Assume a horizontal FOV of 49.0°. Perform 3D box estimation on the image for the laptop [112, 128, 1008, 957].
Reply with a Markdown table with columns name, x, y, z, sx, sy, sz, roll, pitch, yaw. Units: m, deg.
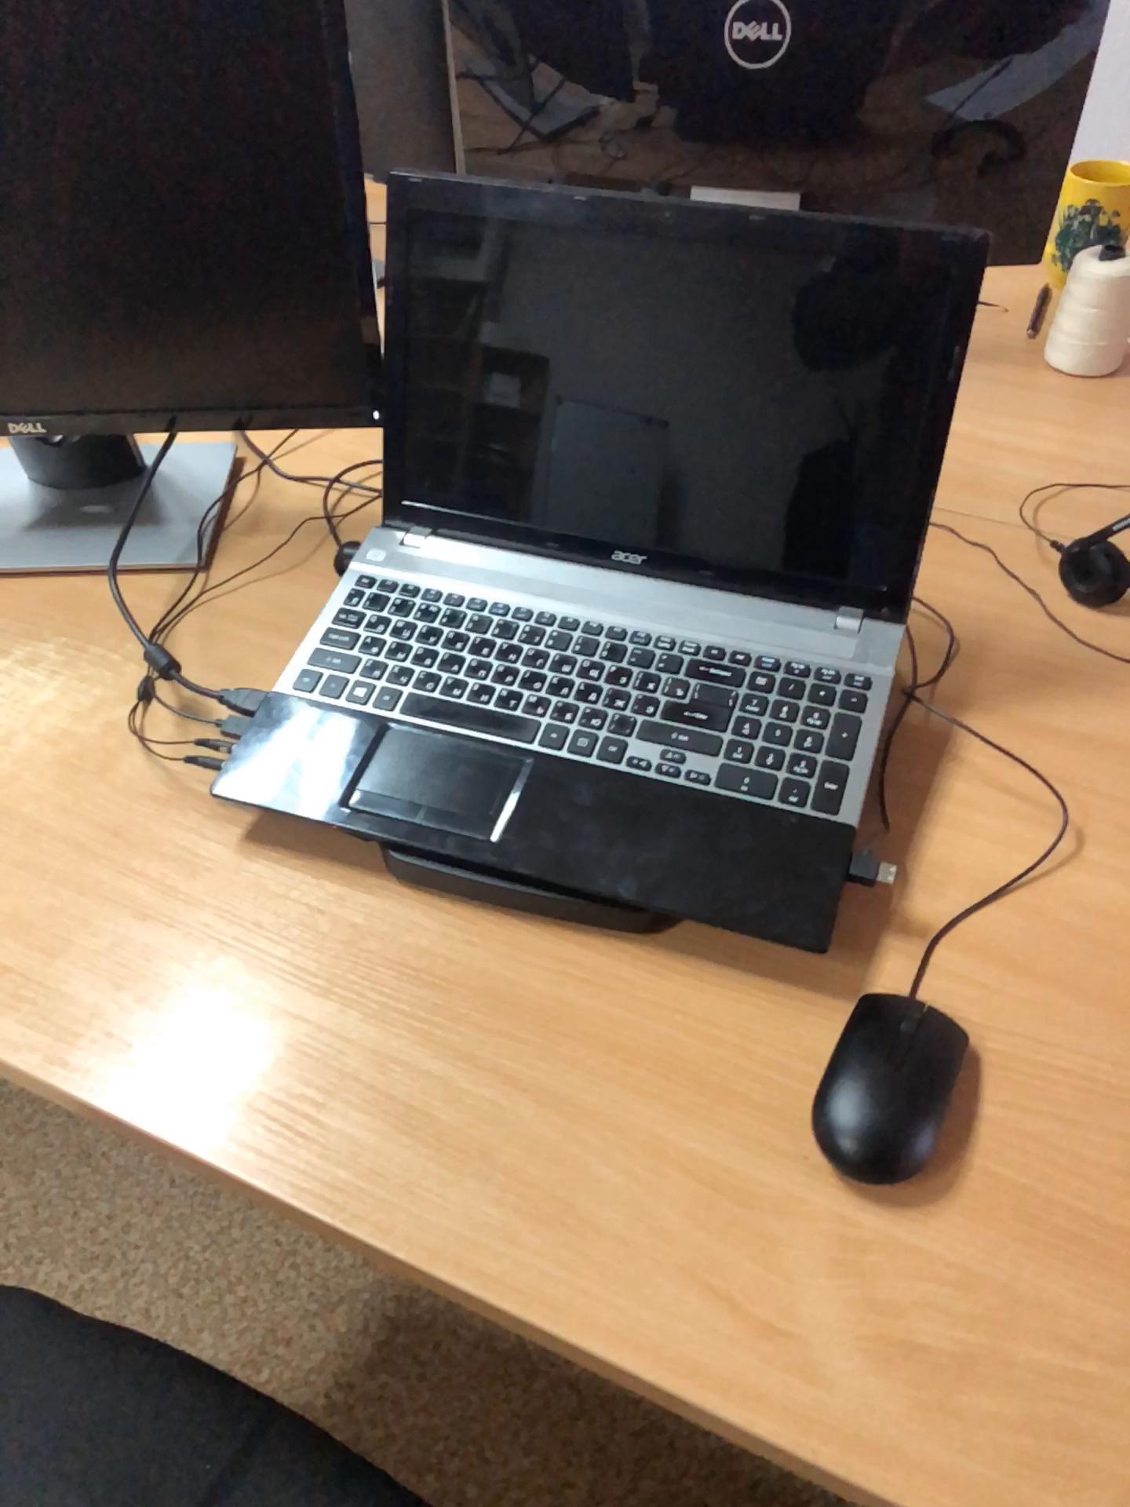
| name | x | y | z | sx | sy | sz | roll | pitch | yaw |
| --- | --- | --- | --- | --- | --- | --- | --- | --- | --- |
| laptop | 0.018 | -0.147 | 0.718 | 0.370 | 0.215 | 0.353 | 13 | 52 | 15 |
